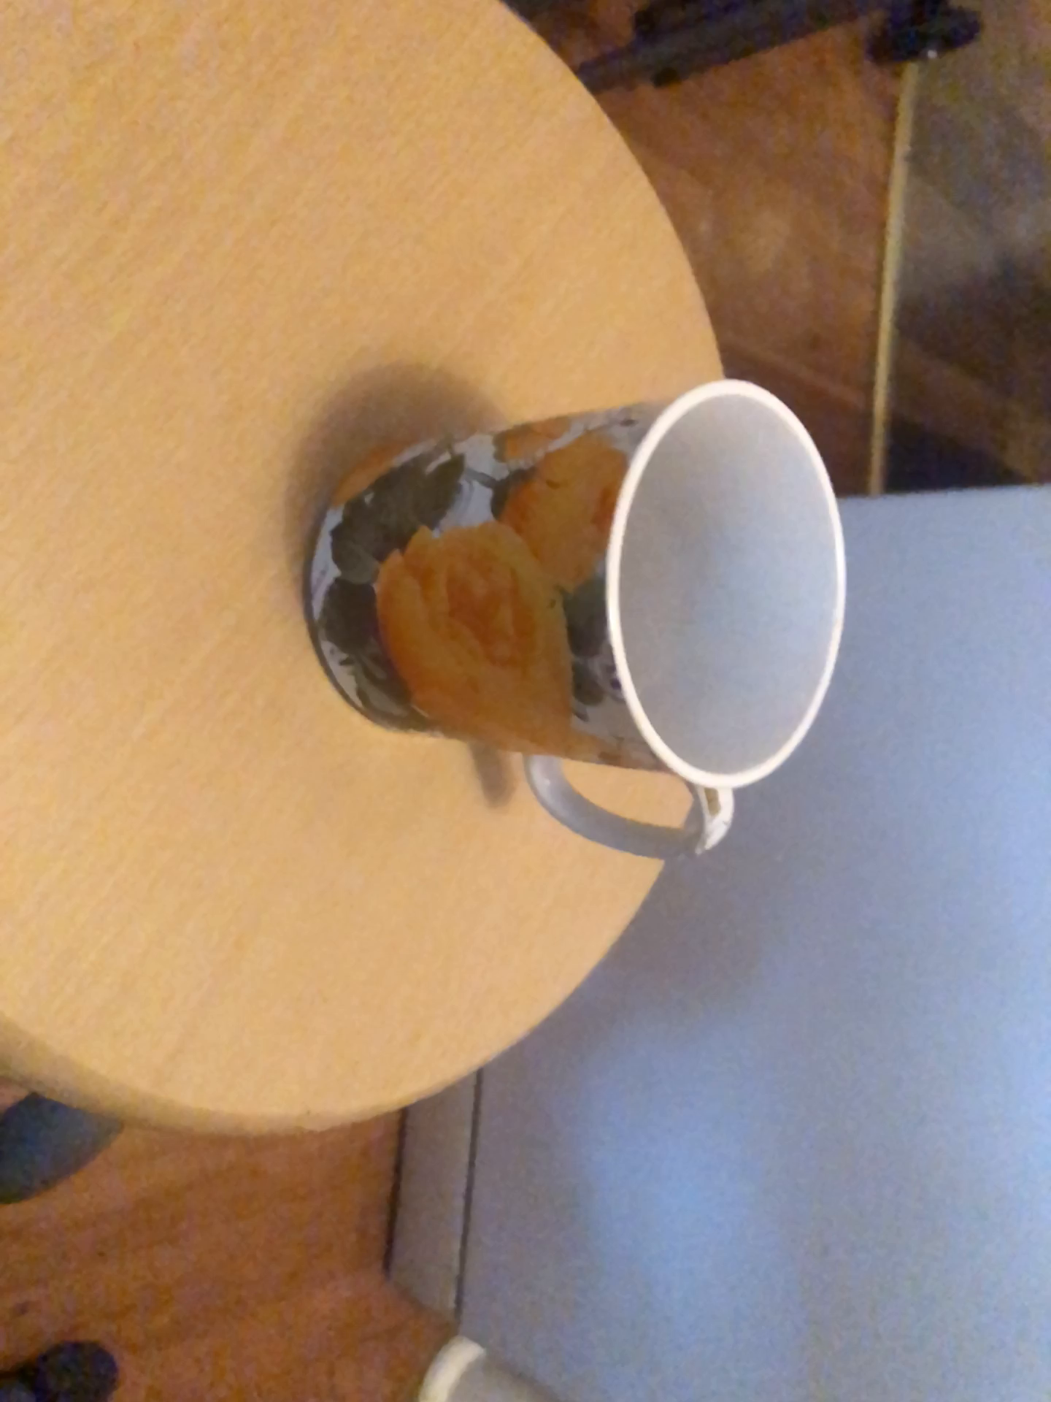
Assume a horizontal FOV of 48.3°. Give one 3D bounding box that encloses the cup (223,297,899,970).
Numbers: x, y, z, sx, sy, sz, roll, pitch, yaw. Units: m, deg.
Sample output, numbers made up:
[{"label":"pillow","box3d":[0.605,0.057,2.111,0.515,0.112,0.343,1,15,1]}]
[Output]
[{"label":"cup","box3d":[0.012,-0.017,0.272,0.083,0.097,0.111,-41,120,-37]}]
